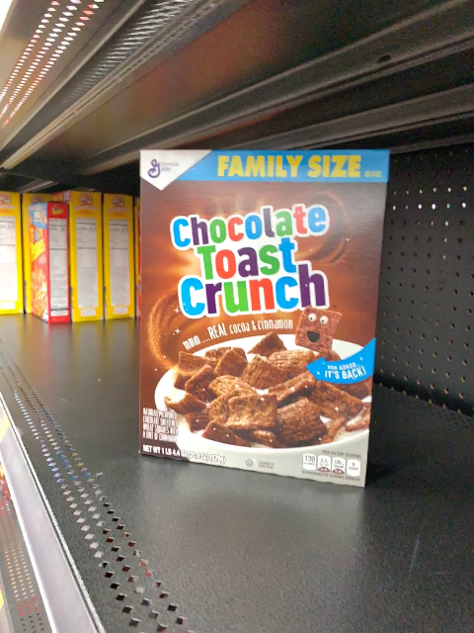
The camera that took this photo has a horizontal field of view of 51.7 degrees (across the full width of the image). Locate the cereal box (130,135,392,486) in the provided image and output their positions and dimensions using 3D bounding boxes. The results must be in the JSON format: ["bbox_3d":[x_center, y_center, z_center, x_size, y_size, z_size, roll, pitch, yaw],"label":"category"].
[{"bbox_3d":[0.021,-0.008,0.501,0.240,0.319,0.070,3,9,13],"label":"cereal box"}]
